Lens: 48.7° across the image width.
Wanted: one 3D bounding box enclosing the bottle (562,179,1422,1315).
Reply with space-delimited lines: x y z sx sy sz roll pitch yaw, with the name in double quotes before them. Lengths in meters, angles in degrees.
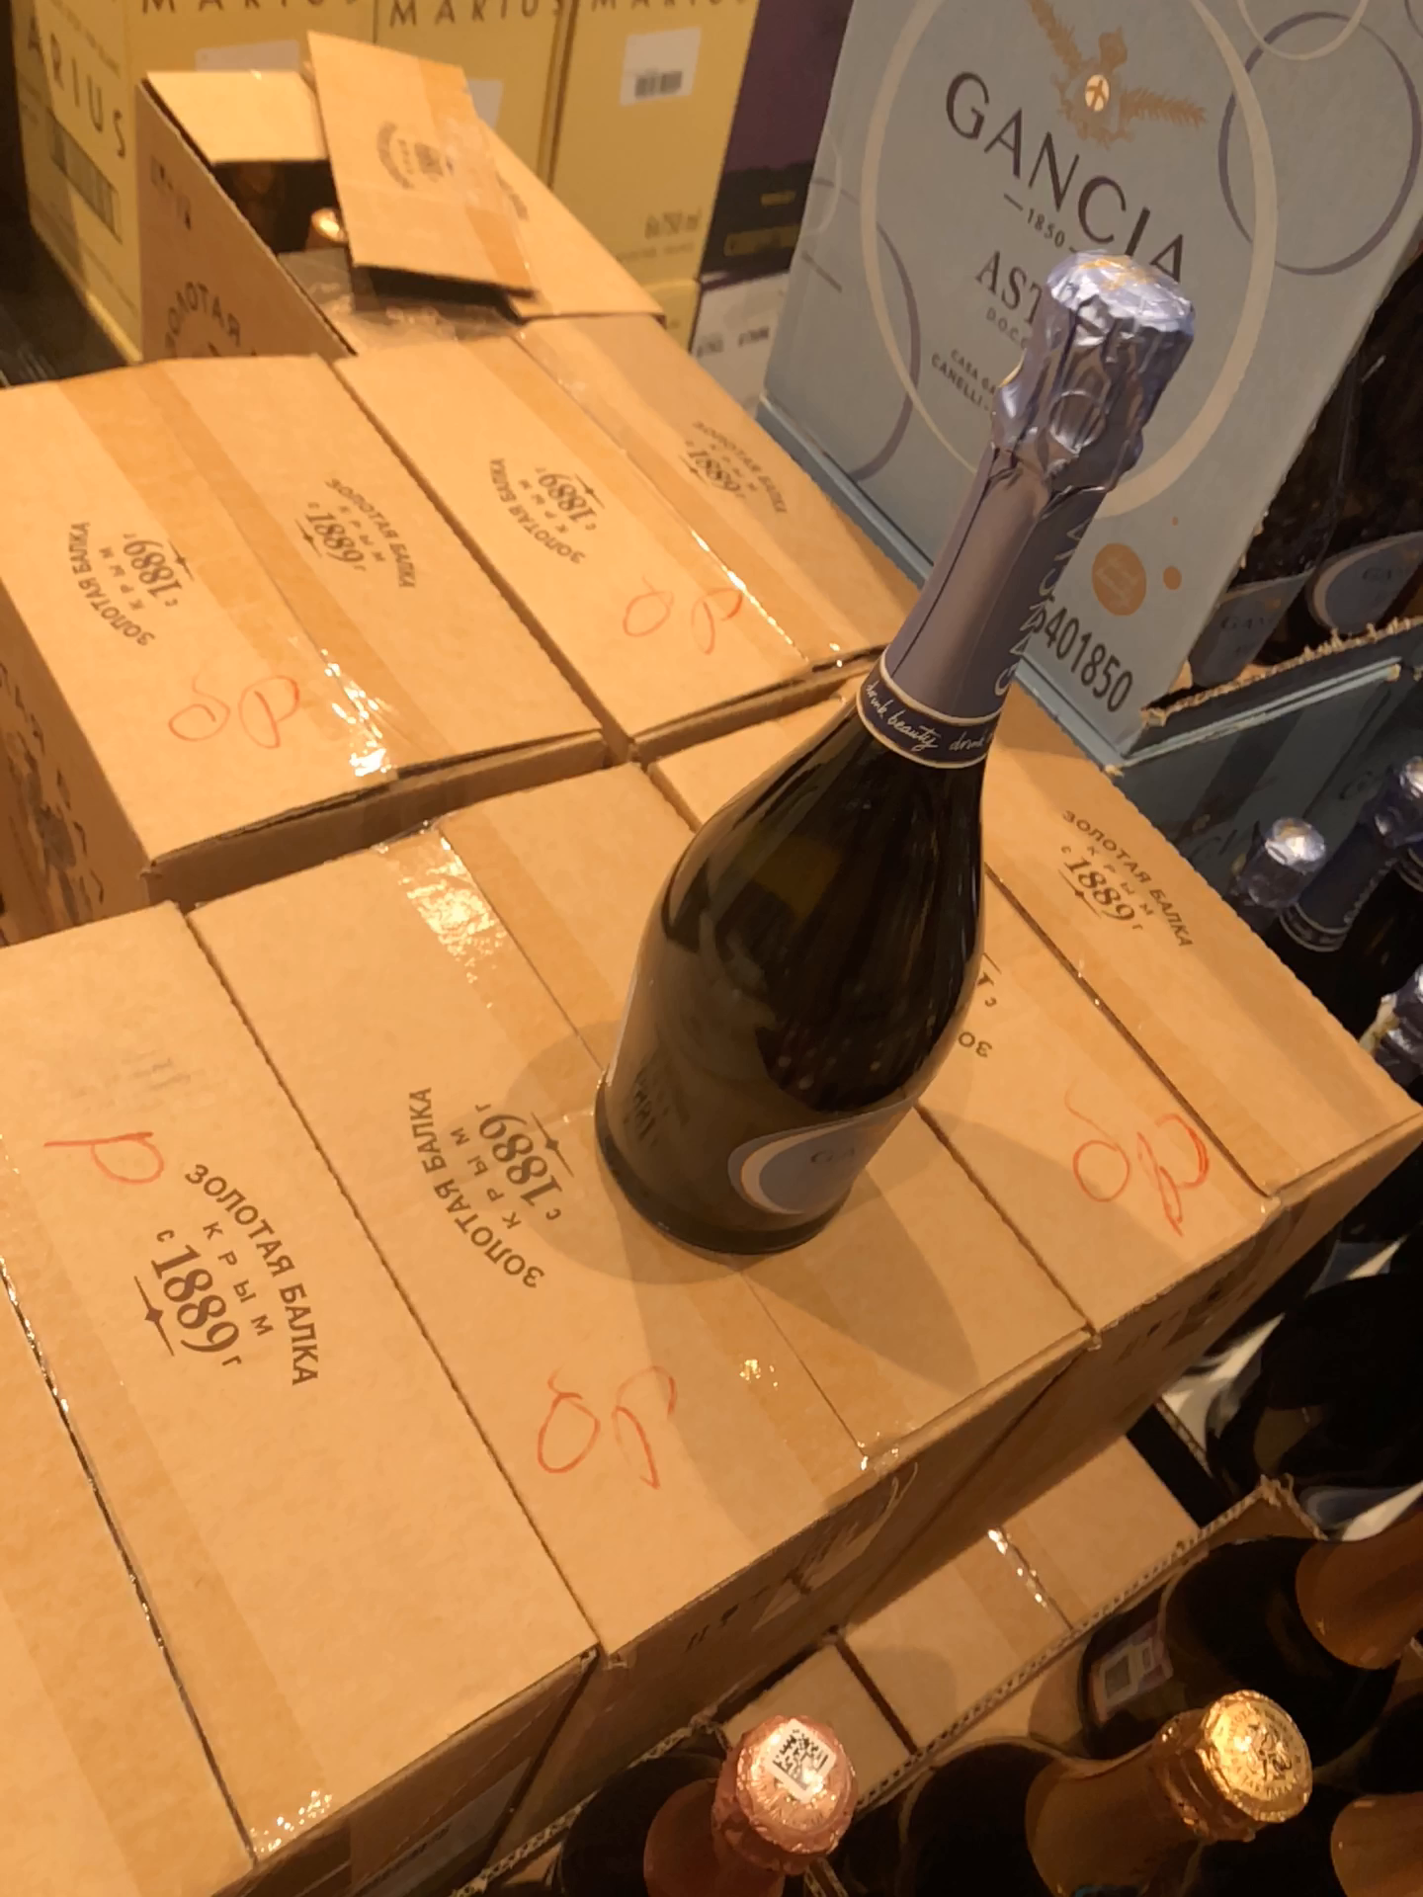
"bottle" 0.049 -0.031 0.419 0.102 0.298 0.090 -24 61 -32
